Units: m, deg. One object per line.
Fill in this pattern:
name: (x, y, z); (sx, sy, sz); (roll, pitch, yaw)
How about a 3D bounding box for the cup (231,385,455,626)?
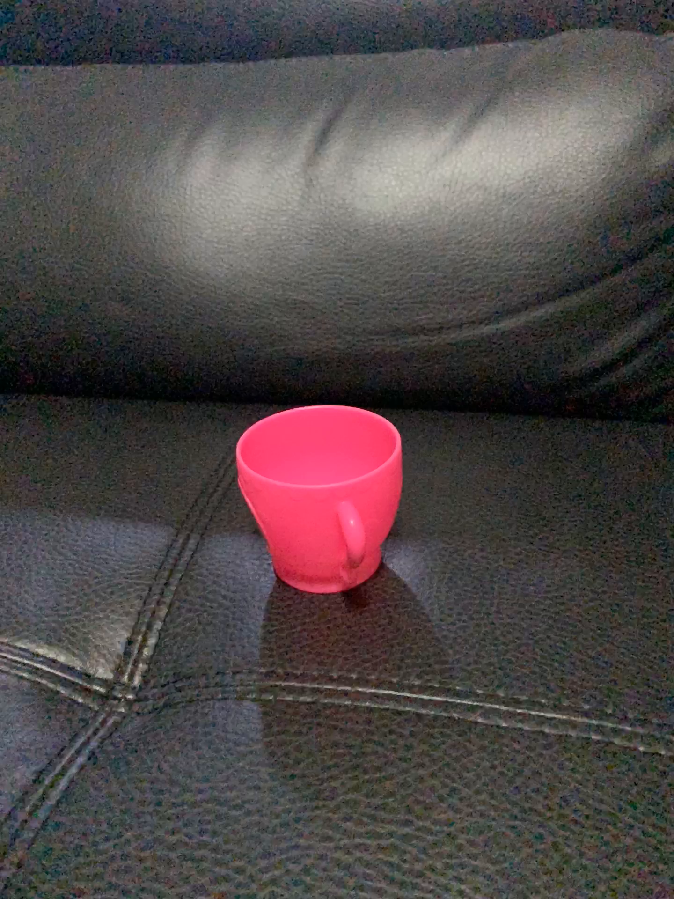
cup: (-0.001, 0.015, 0.251); (0.061, 0.047, 0.073); (-8, 27, -11)
